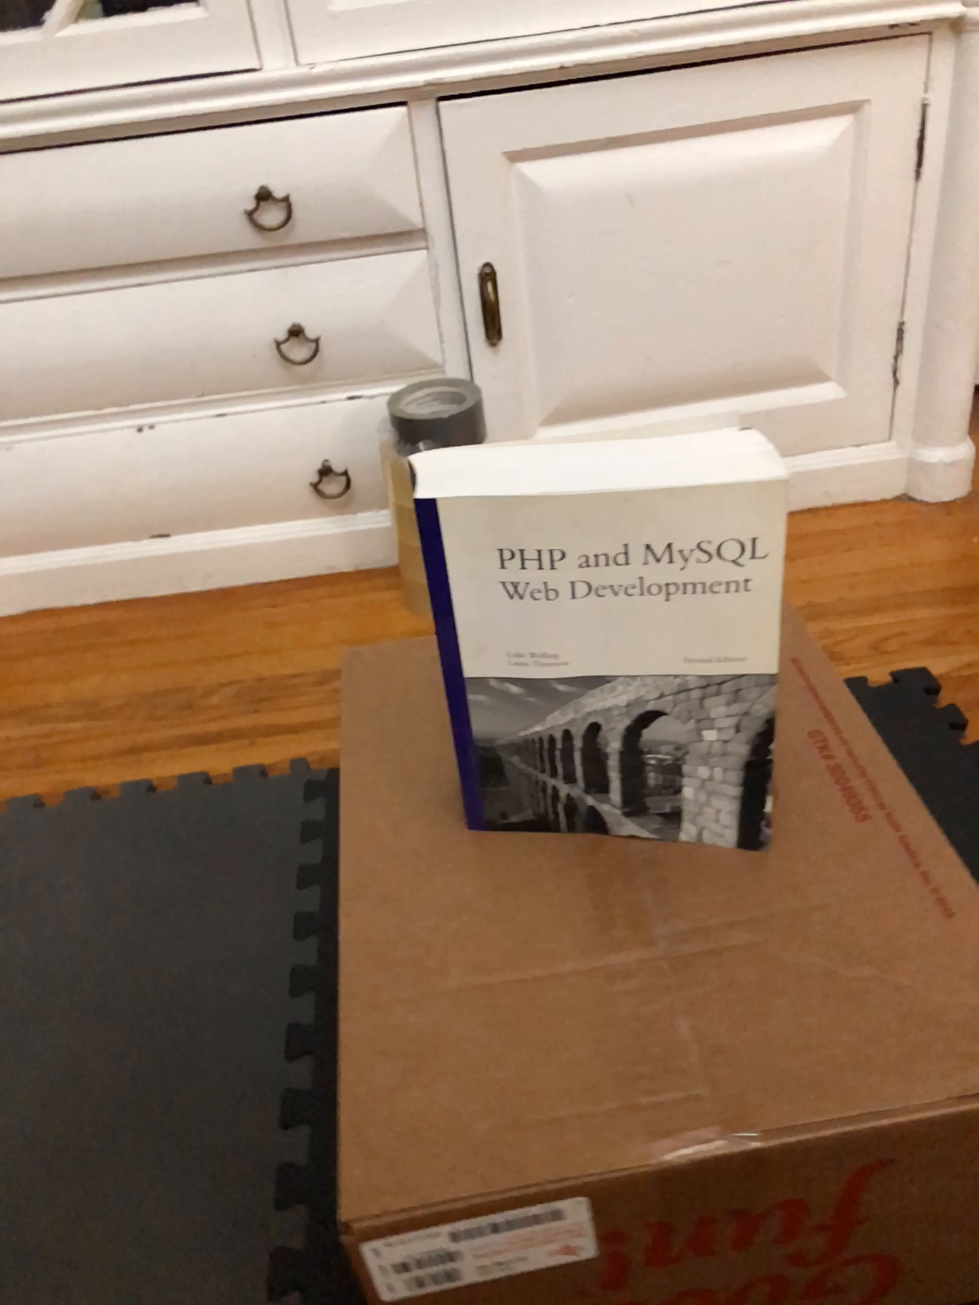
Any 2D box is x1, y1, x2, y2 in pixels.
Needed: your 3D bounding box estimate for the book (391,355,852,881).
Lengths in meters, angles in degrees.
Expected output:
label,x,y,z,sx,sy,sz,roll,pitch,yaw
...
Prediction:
label,x,y,z,sx,sy,sz,roll,pitch,yaw
book,0.070,-0.008,0.581,0.200,0.258,0.091,-6,36,3
